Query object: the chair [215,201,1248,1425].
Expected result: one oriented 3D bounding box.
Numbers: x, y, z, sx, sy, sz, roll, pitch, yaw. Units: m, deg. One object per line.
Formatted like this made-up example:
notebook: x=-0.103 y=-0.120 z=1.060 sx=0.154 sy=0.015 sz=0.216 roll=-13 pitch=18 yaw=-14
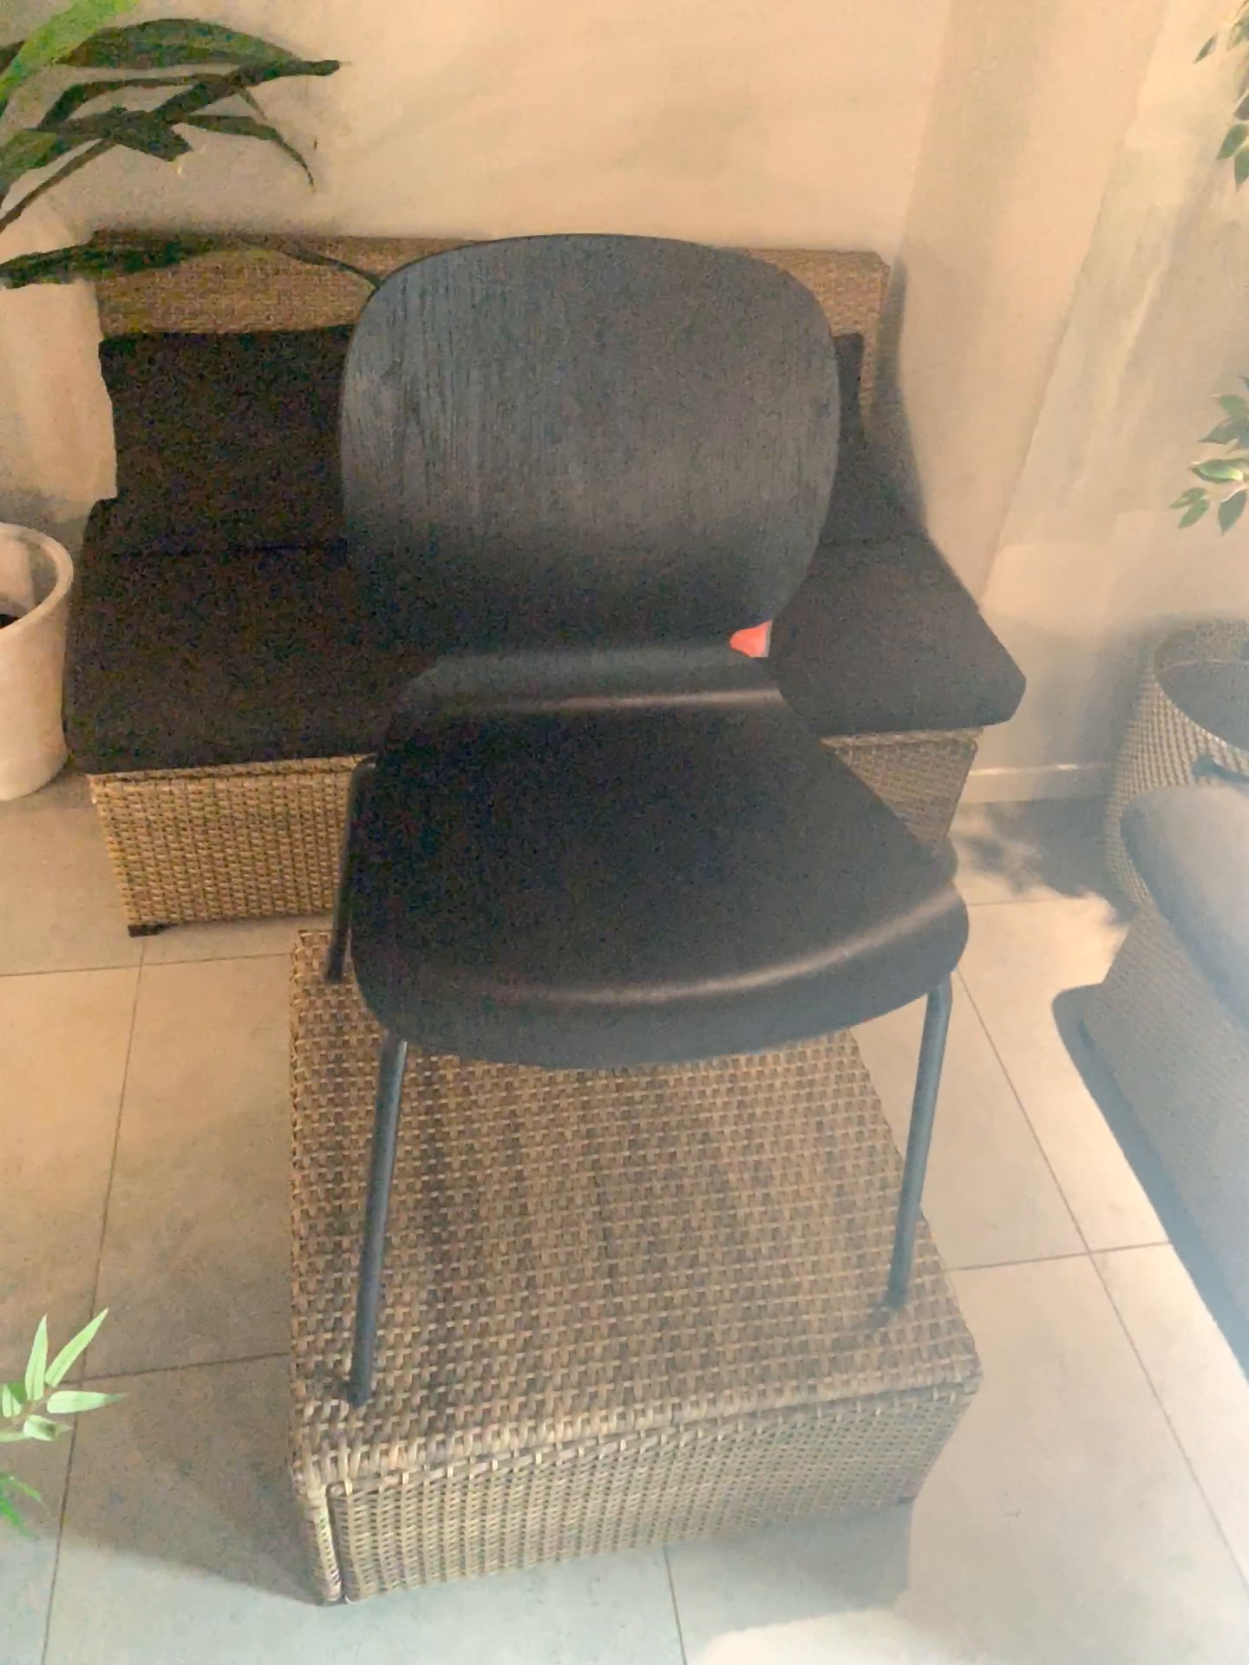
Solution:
chair: x=-0.008 y=-0.009 z=1.038 sx=0.530 sy=0.767 sz=0.562 roll=-5 pitch=43 yaw=-13
